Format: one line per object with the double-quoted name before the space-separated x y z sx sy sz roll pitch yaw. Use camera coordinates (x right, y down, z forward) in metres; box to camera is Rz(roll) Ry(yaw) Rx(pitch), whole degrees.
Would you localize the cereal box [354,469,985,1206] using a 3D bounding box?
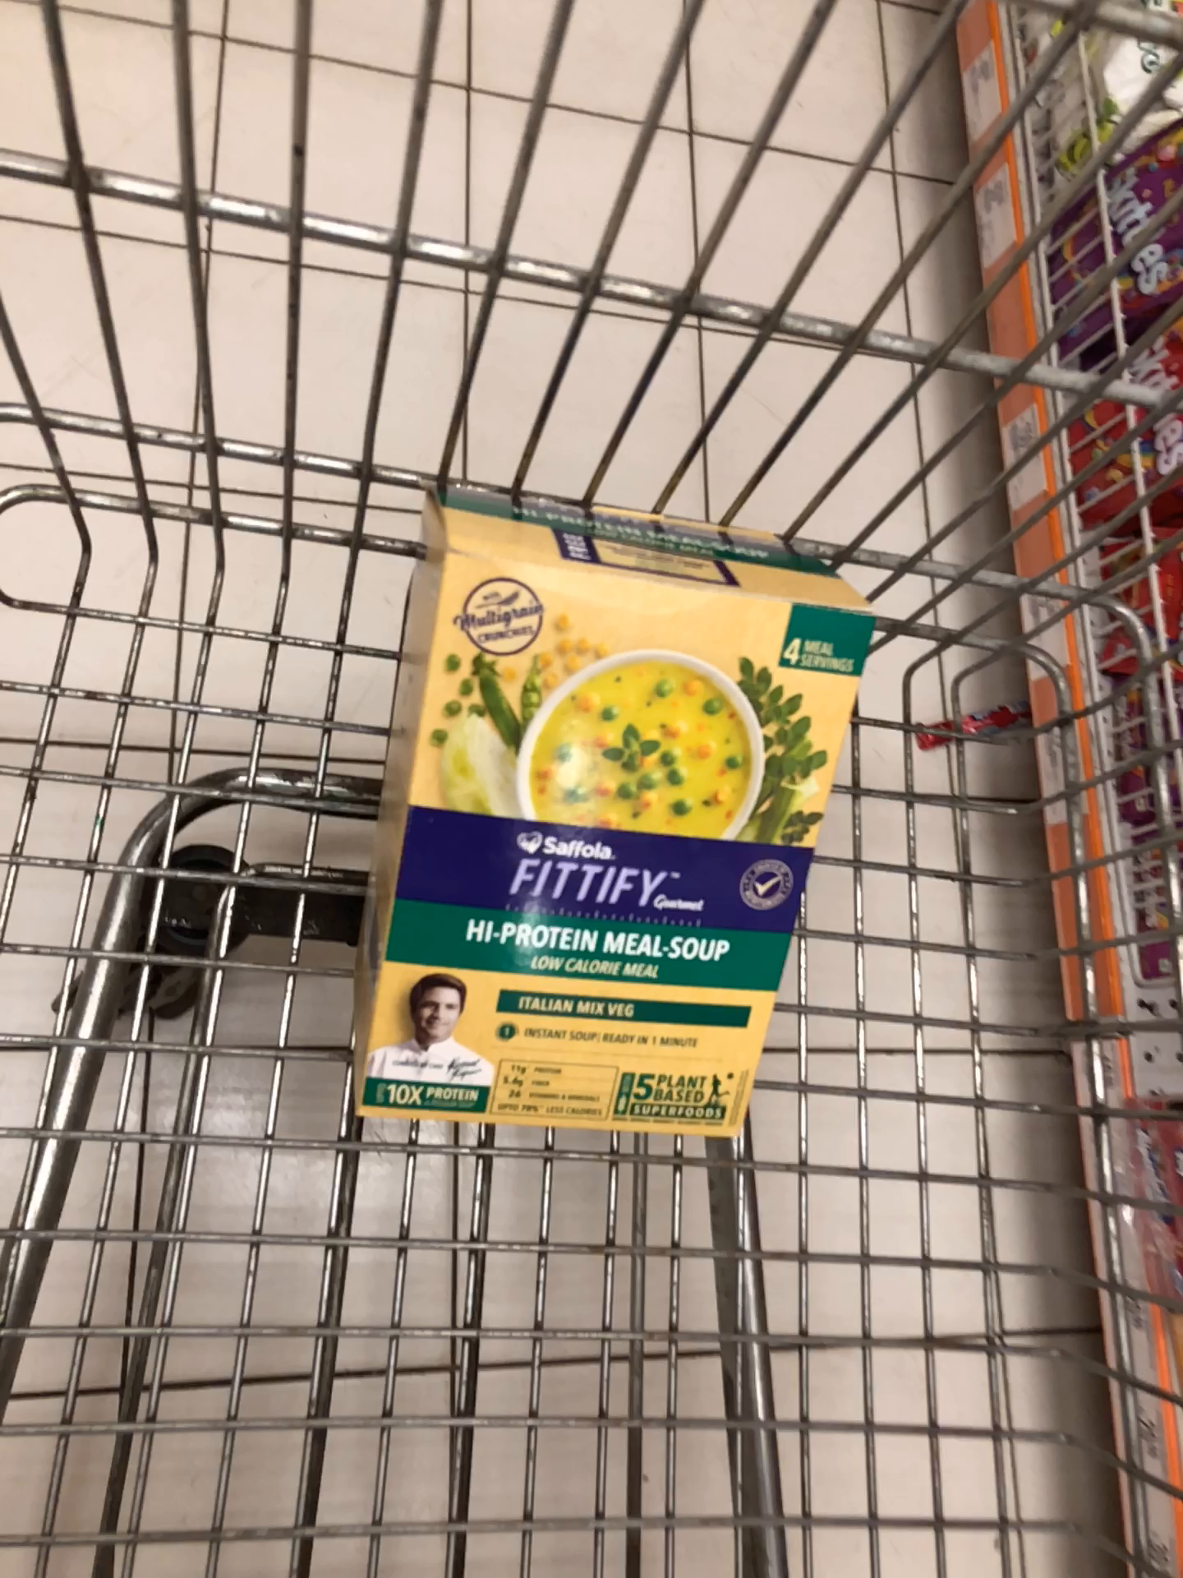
"cereal box" 0.010 0.015 0.376 0.130 0.090 0.180 7 109 -14
